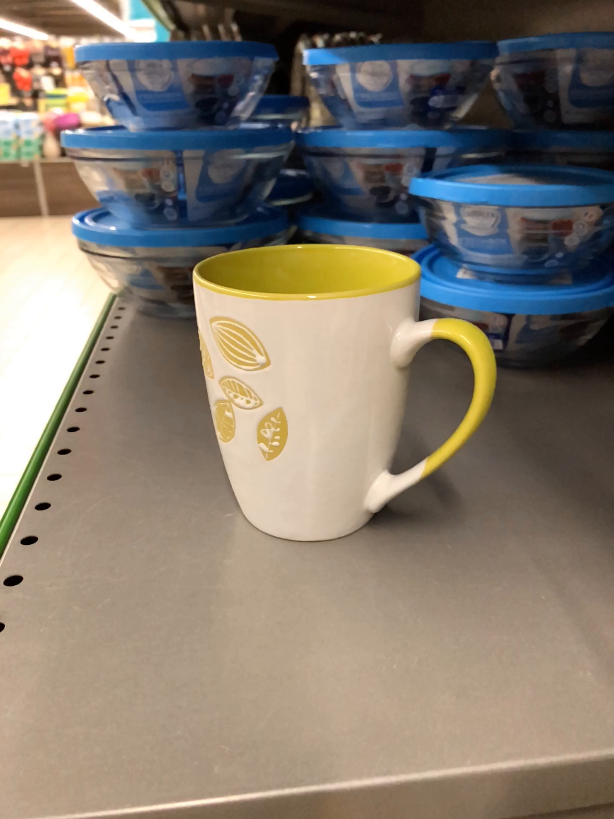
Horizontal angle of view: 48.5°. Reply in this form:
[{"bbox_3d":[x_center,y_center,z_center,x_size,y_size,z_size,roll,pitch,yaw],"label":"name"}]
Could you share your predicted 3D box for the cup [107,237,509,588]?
[{"bbox_3d":[0.005,-0.010,0.281,0.126,0.095,0.094,11,27,24],"label":"cup"}]
